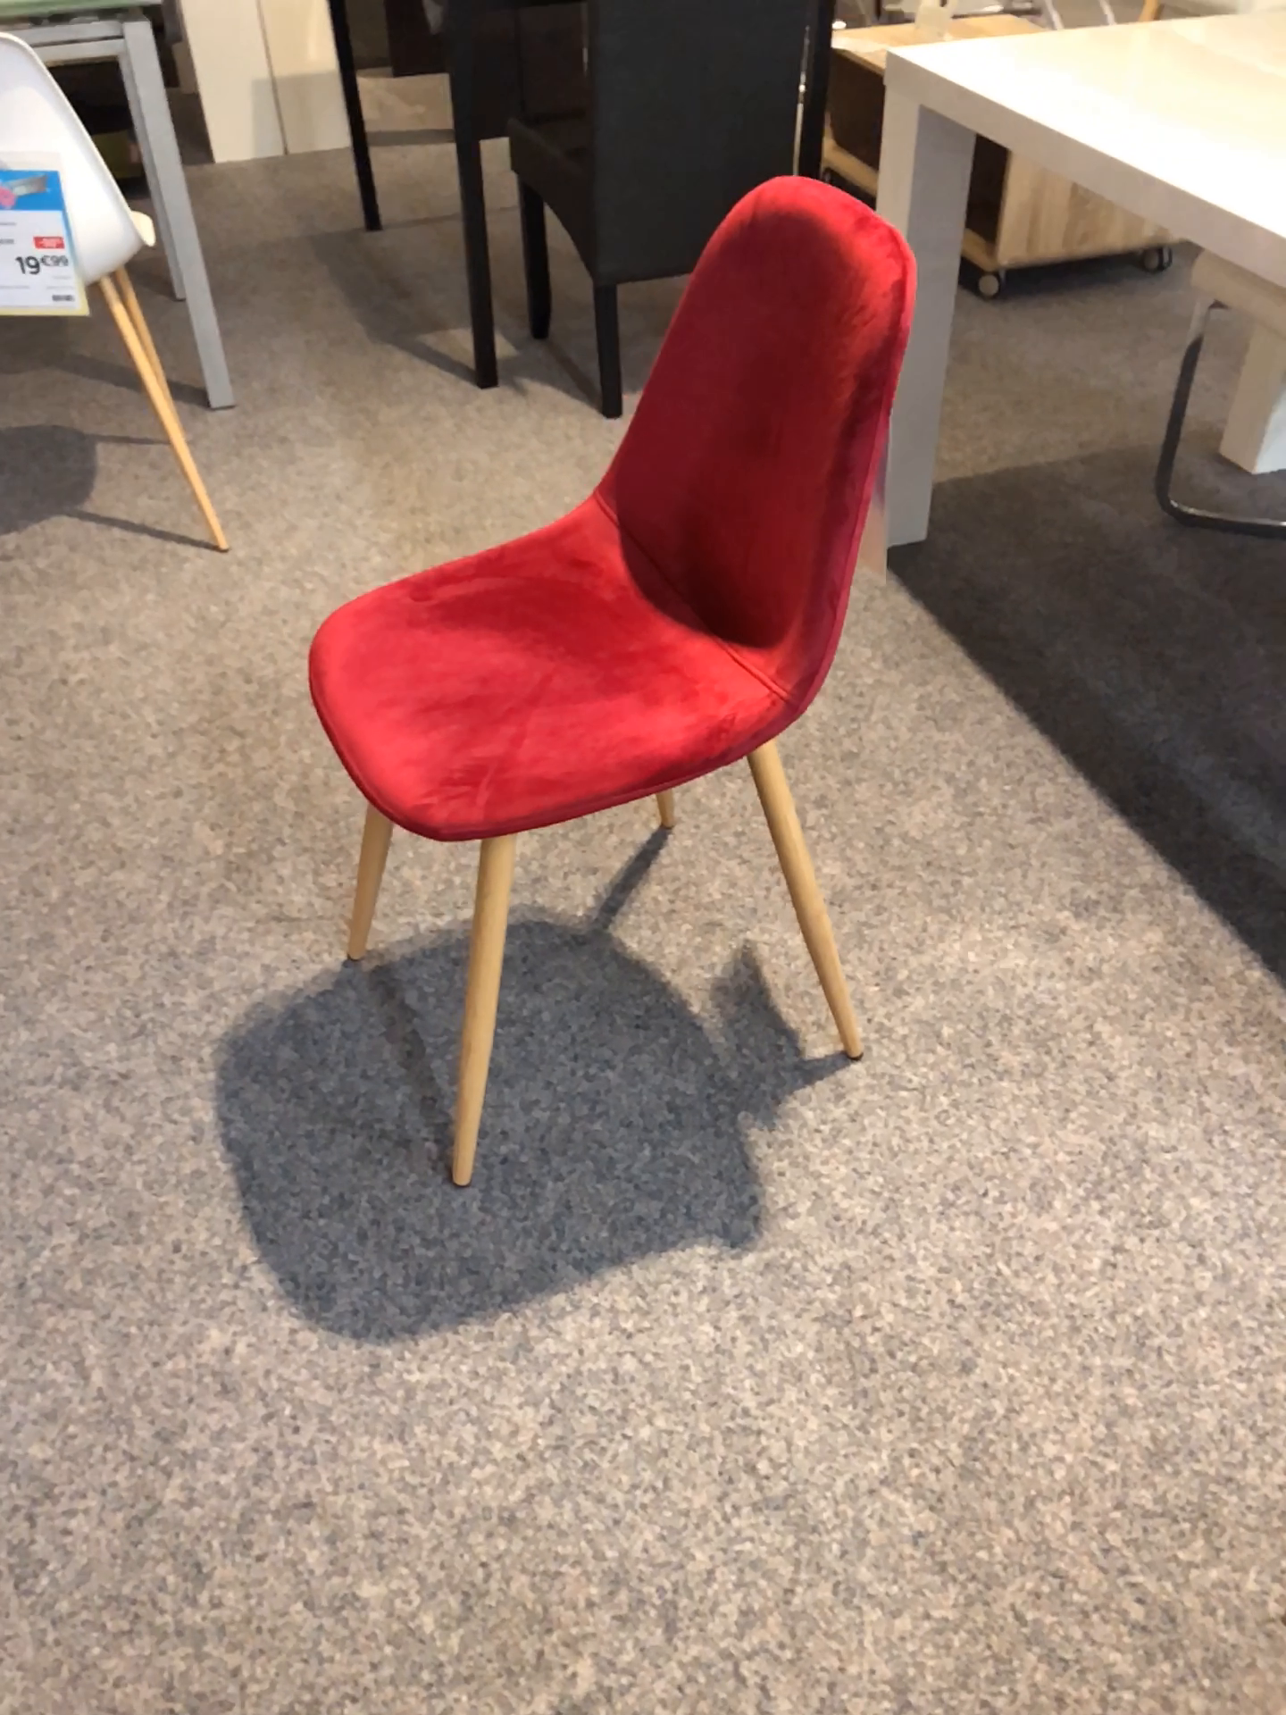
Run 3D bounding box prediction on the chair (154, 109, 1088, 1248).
[{"bbox_3d":[-0.041,-0.173,1.346,0.551,0.815,0.532,-17,43,-18],"label":"chair"}]
